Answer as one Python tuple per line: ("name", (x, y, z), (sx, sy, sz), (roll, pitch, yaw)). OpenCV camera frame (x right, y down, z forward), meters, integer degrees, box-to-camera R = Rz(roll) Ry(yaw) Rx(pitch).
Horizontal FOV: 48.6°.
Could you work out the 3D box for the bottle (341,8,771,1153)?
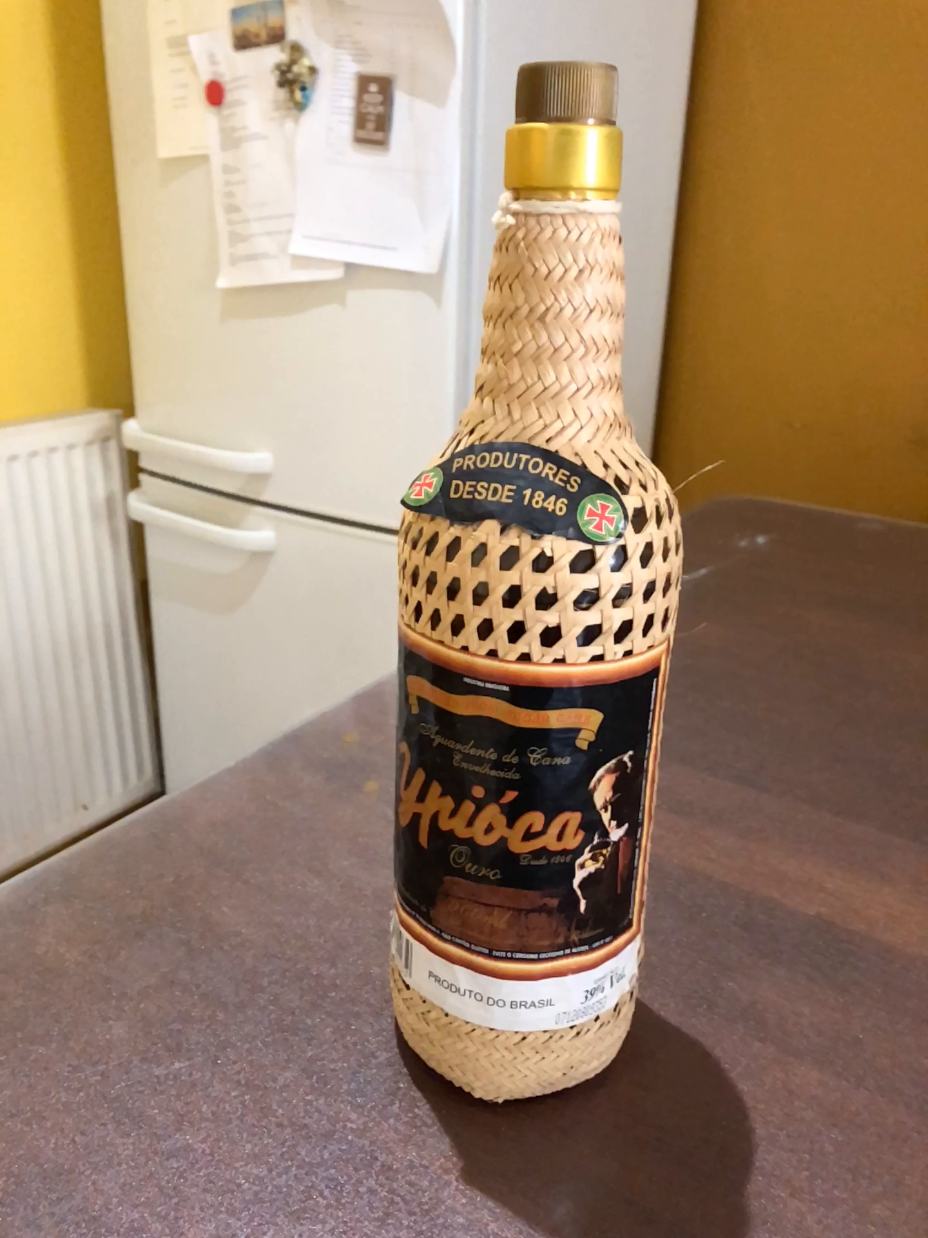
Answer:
("bottle", (0.027, 0.000, 0.333), (0.100, 0.328, 0.091), (7, 21, 14))
